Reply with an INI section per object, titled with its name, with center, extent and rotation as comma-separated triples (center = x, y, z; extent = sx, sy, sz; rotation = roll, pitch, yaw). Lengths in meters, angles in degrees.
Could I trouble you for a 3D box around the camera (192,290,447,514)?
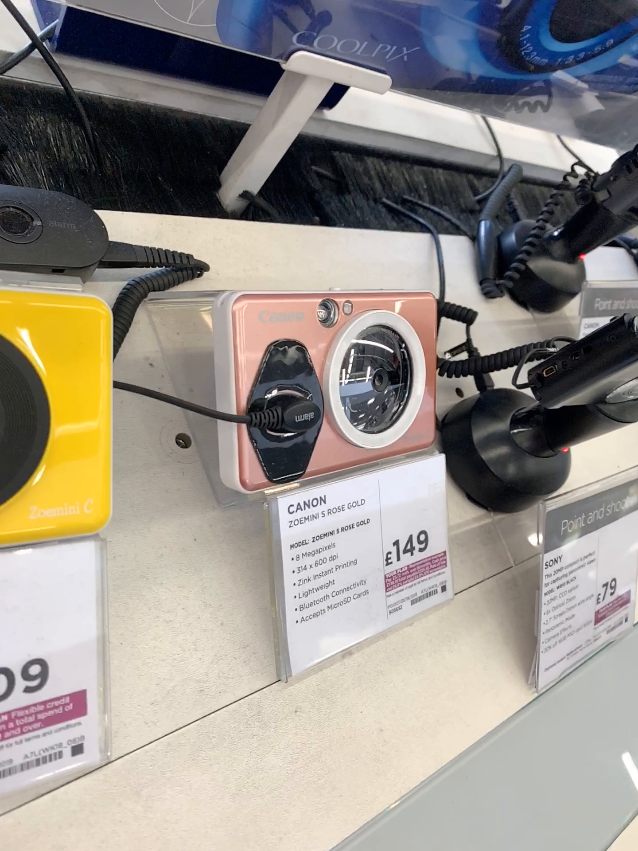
[camera]
center = 0.008, -0.017, 0.291
extent = 0.129, 0.020, 0.083
rotation = -10, 103, -40
